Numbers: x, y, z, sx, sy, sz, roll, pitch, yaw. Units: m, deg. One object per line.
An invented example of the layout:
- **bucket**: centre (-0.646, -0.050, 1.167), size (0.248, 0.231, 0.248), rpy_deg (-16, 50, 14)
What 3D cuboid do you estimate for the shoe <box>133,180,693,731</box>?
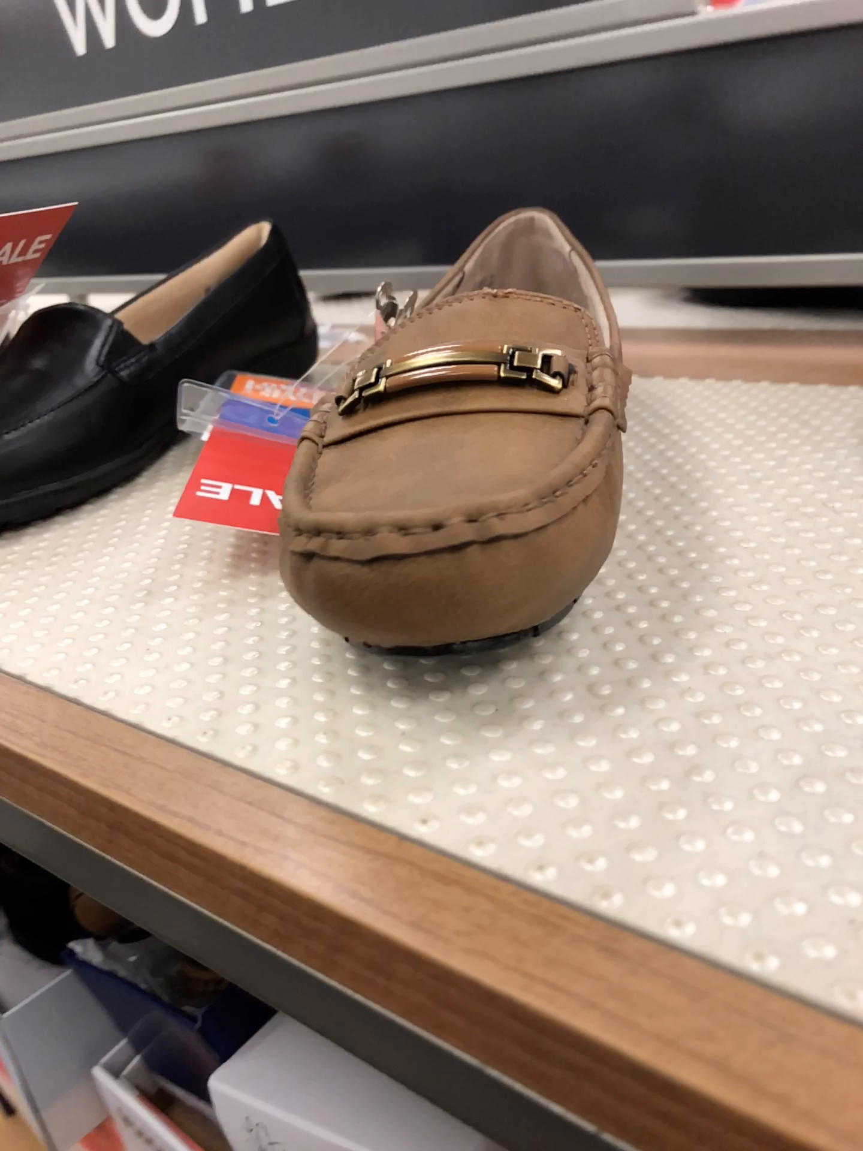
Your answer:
- **shoe**: centre (0.017, -0.057, 0.268), size (0.087, 0.079, 0.236), rpy_deg (-2, 24, 11)
